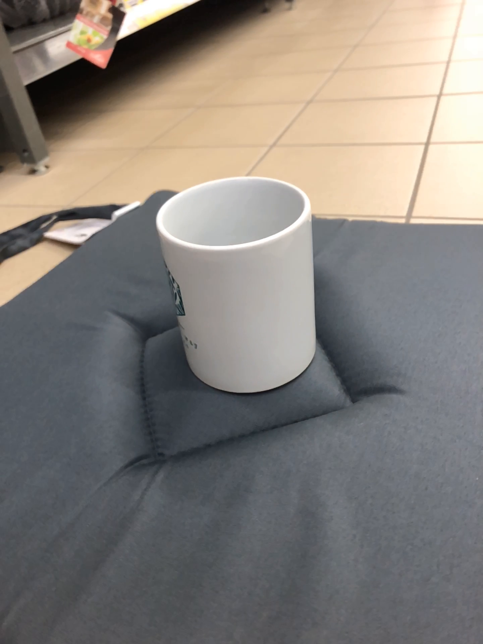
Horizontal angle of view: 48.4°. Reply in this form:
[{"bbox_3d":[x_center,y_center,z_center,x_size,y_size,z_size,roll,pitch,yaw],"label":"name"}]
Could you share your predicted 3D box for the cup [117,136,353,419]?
[{"bbox_3d":[-0.008,-0.034,0.307,0.090,0.089,0.131,-16,36,-9],"label":"cup"}]
